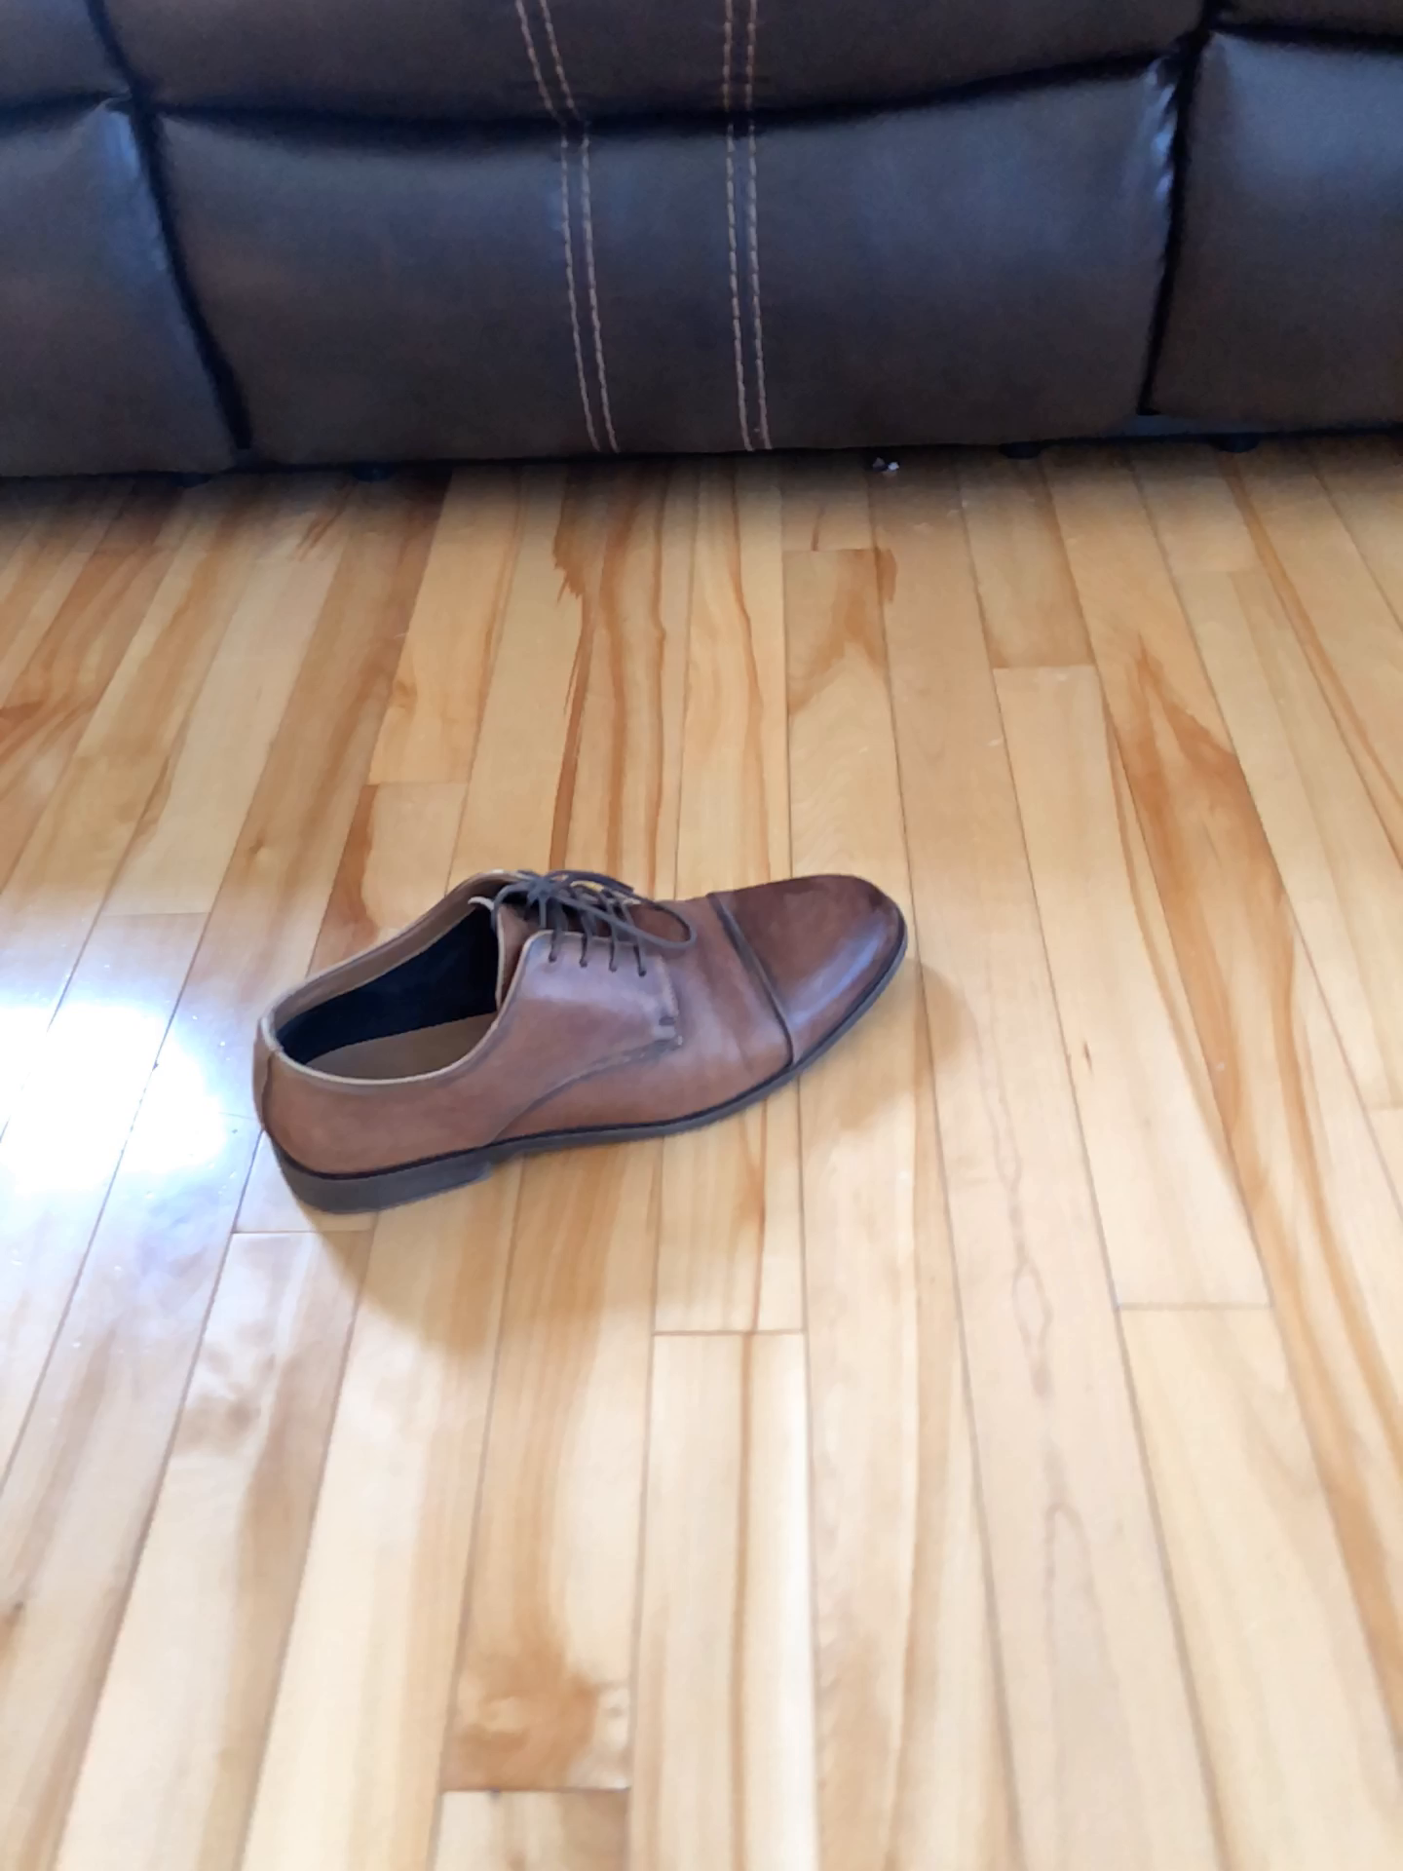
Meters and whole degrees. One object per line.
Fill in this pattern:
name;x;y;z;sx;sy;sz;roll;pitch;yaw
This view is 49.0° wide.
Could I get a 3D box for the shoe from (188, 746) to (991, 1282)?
shoe;-0.042;0.028;0.656;0.310;0.100;0.100;-17;45;-12
